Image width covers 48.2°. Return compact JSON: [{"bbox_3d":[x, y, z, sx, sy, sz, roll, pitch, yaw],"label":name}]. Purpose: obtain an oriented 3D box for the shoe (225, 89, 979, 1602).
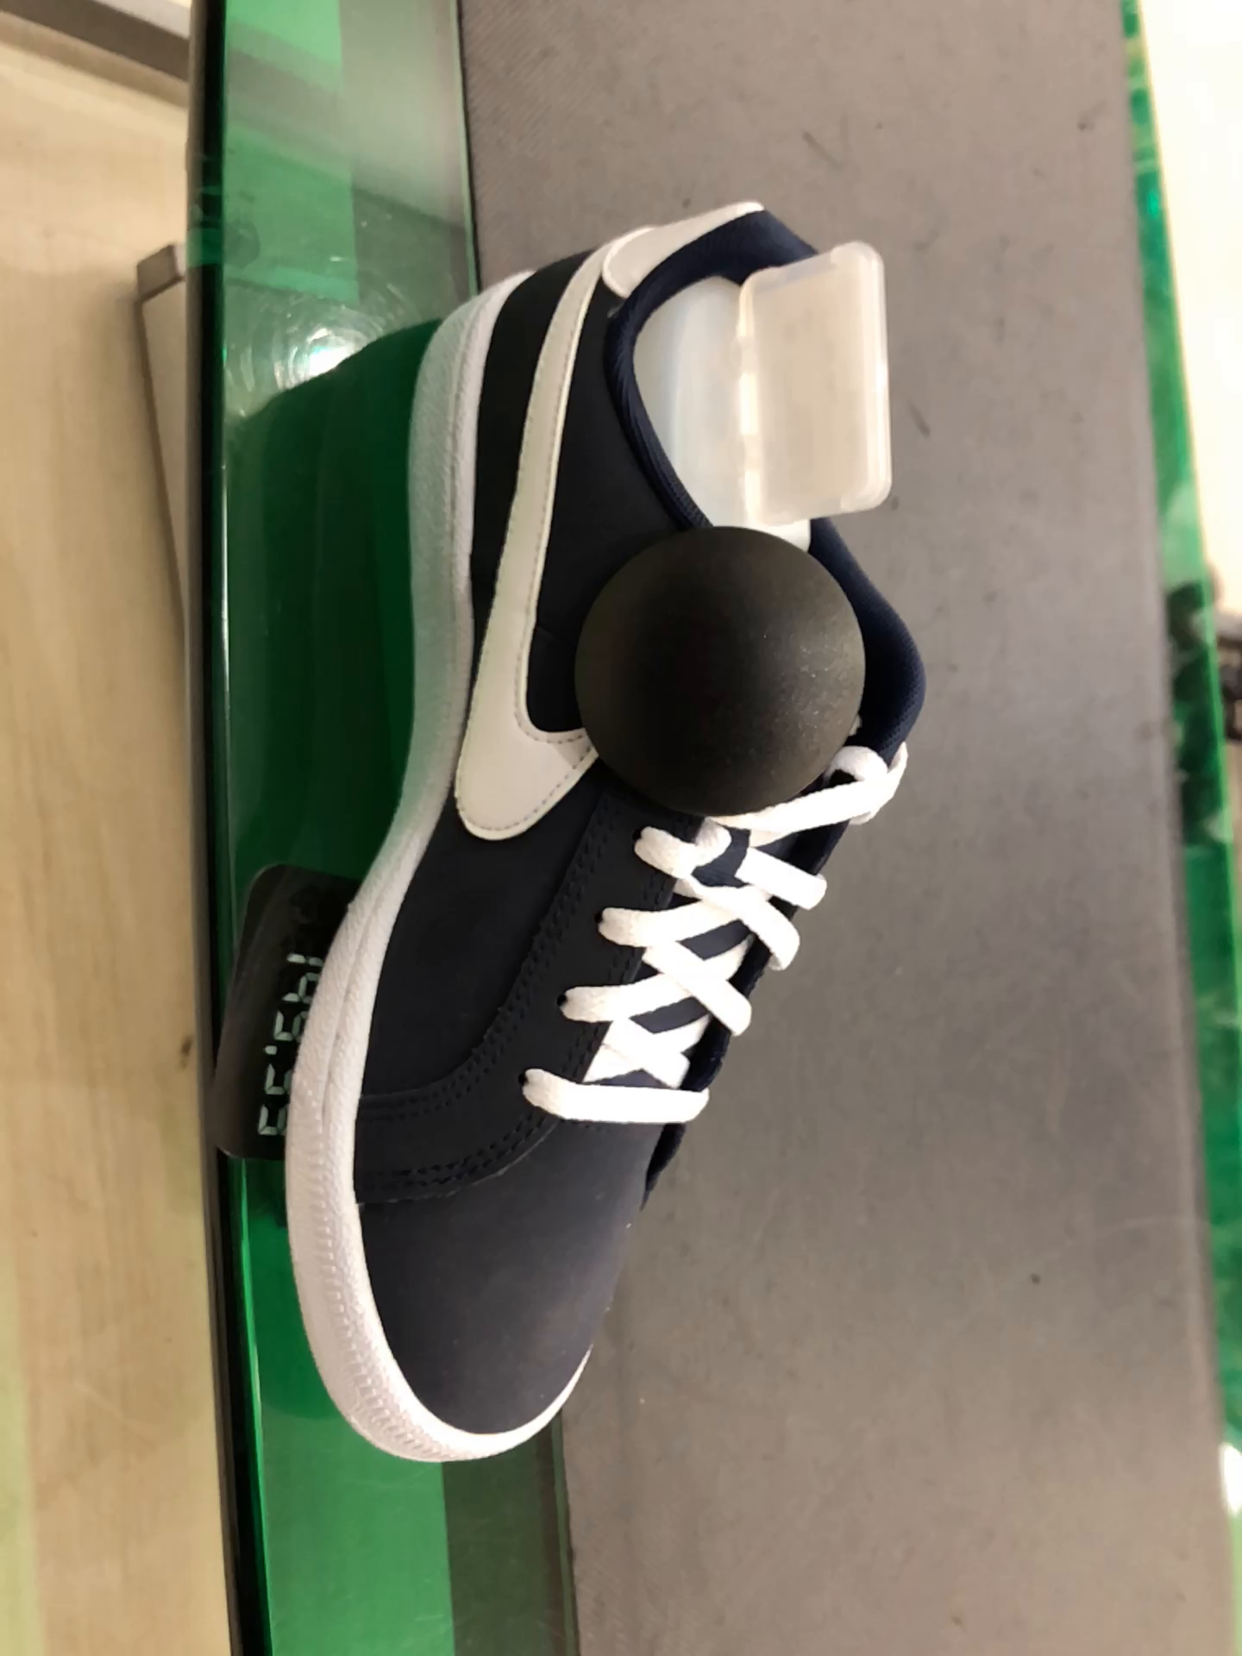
[{"bbox_3d":[0.005,0.003,0.295,0.111,0.089,0.250,16,75,-47],"label":"shoe"}]
